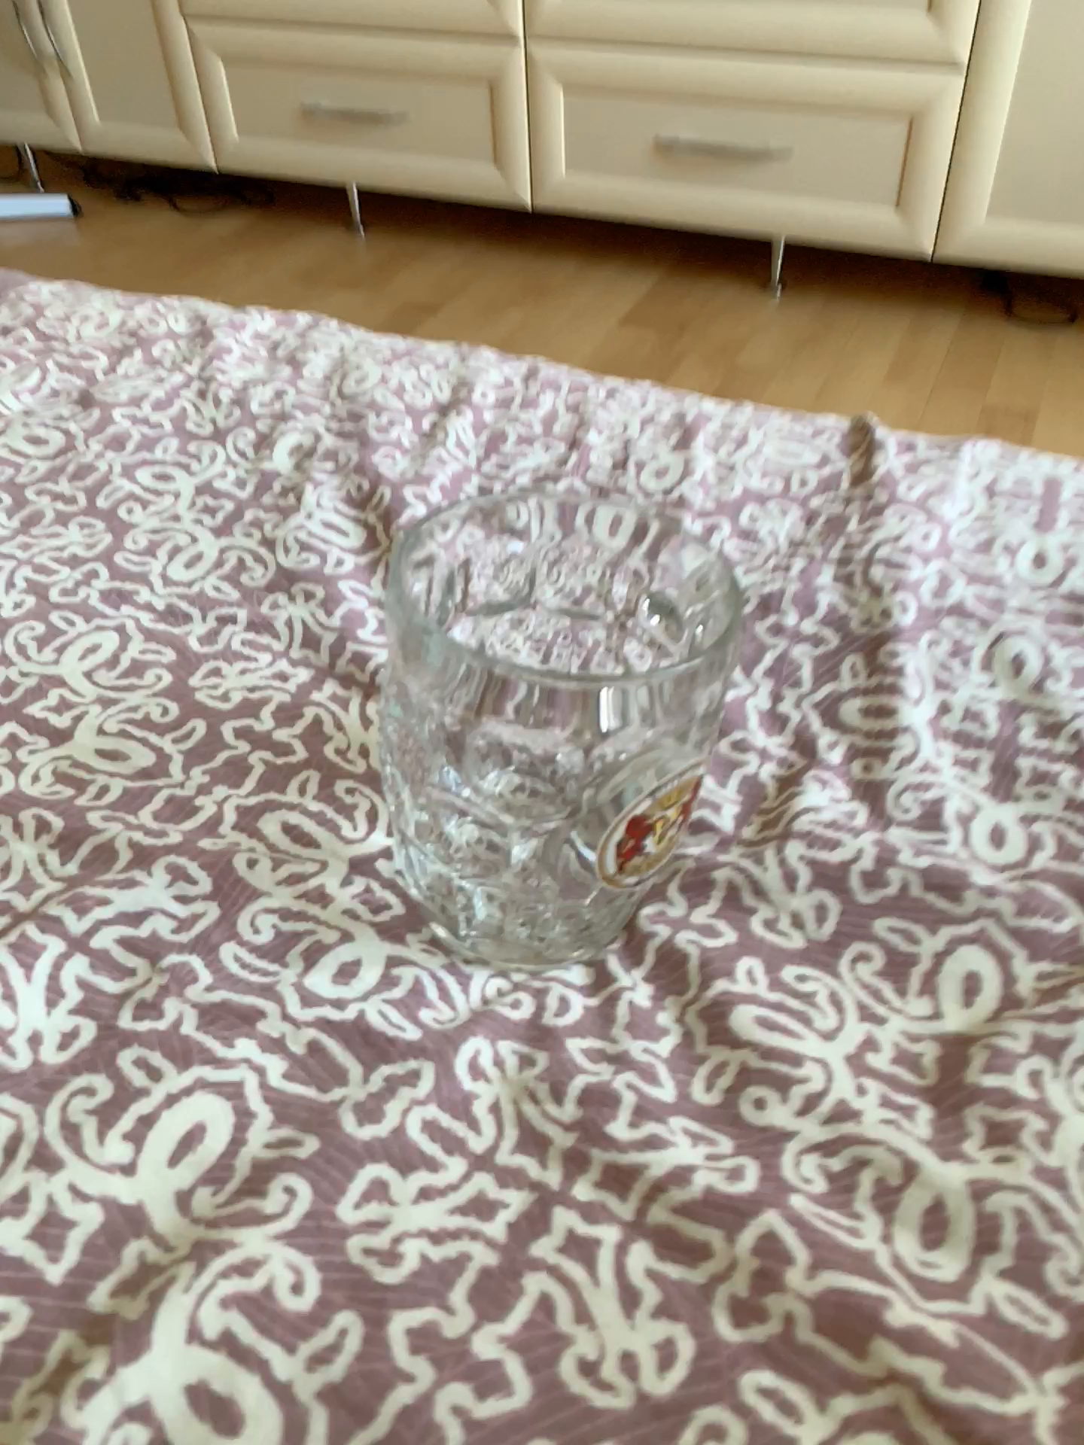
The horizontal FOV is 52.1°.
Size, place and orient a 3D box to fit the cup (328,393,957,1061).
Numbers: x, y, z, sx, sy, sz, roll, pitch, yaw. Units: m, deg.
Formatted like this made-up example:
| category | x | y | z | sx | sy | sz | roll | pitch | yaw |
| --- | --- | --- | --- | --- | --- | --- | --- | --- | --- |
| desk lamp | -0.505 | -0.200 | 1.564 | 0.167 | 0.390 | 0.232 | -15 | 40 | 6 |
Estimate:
| category | x | y | z | sx | sy | sz | roll | pitch | yaw |
| --- | --- | --- | --- | --- | --- | --- | --- | --- | --- |
| cup | 0.021 | -0.004 | 0.297 | 0.120 | 0.109 | 0.090 | -29 | 53 | -32 |
